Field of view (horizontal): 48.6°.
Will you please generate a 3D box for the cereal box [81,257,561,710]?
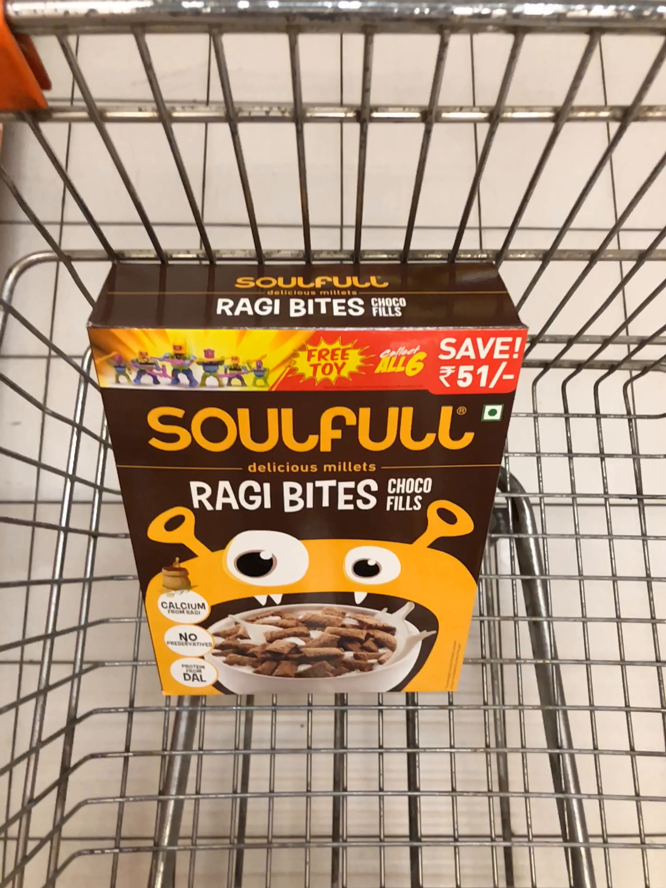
[{"bbox_3d":[-0.007,0.037,0.399,0.190,0.259,0.070,1,37,-1],"label":"cereal box"}]
